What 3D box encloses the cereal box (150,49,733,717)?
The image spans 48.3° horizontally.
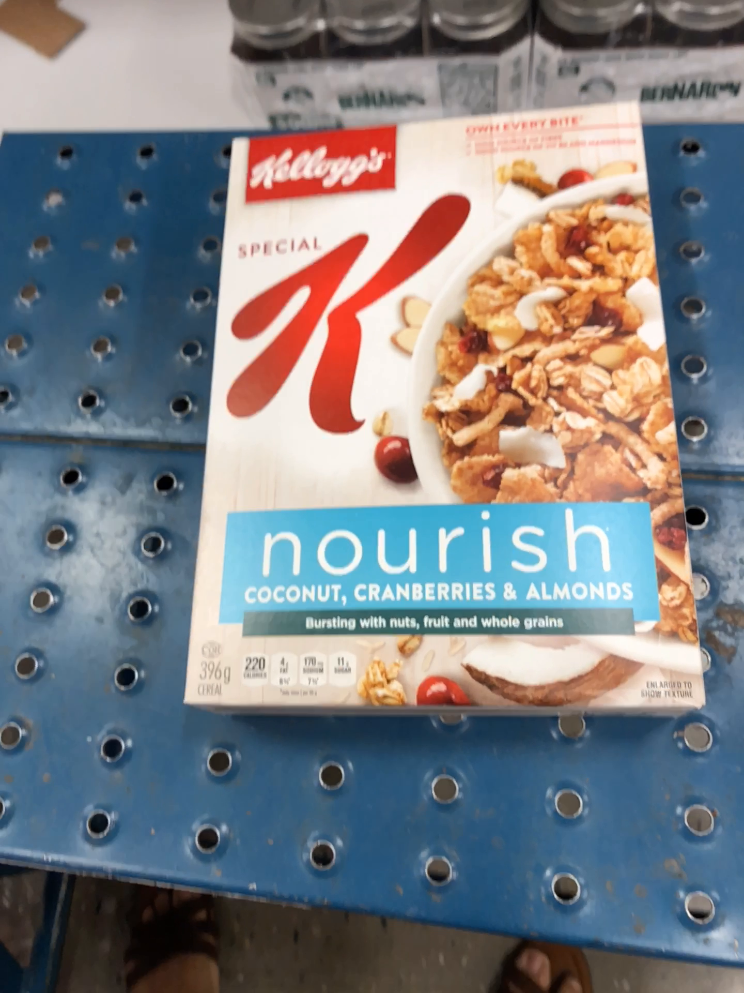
[{"bbox_3d":[0.025,-0.054,0.369,0.210,0.050,0.290,-2,72,8],"label":"cereal box"}]
